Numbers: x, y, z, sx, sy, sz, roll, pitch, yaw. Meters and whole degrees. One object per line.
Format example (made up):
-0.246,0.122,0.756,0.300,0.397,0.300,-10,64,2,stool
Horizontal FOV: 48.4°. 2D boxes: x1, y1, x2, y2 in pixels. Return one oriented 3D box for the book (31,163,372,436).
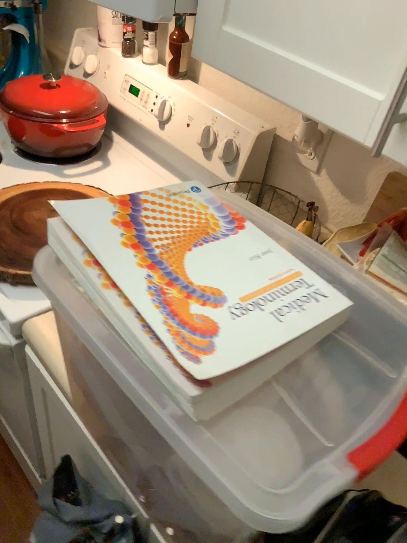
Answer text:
-0.008,-0.006,0.494,0.230,0.050,0.290,-25,53,-35,book
